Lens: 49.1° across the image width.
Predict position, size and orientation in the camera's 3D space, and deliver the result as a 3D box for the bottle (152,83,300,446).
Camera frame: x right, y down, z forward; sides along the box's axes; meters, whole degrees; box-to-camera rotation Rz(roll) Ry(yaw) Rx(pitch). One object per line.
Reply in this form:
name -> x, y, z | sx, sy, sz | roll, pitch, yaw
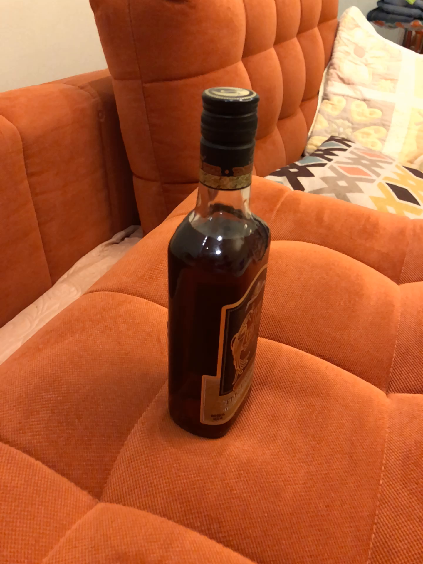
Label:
bottle -> 0.006, -0.001, 0.320 | 0.056, 0.237, 0.074 | 17, 36, 19
